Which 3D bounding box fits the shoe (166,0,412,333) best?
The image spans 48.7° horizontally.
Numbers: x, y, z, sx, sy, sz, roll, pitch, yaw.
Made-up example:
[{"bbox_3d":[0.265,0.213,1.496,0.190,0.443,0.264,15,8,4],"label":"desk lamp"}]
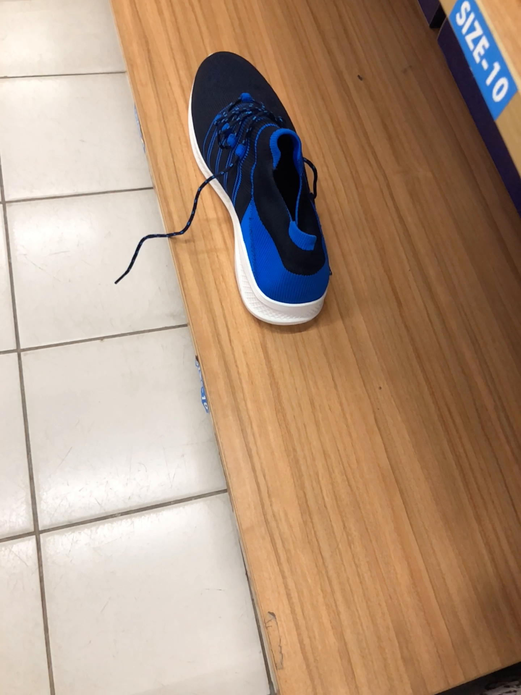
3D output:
[{"bbox_3d":[0.007,-0.161,0.477,0.110,0.110,0.260,-13,71,-14],"label":"shoe"}]
